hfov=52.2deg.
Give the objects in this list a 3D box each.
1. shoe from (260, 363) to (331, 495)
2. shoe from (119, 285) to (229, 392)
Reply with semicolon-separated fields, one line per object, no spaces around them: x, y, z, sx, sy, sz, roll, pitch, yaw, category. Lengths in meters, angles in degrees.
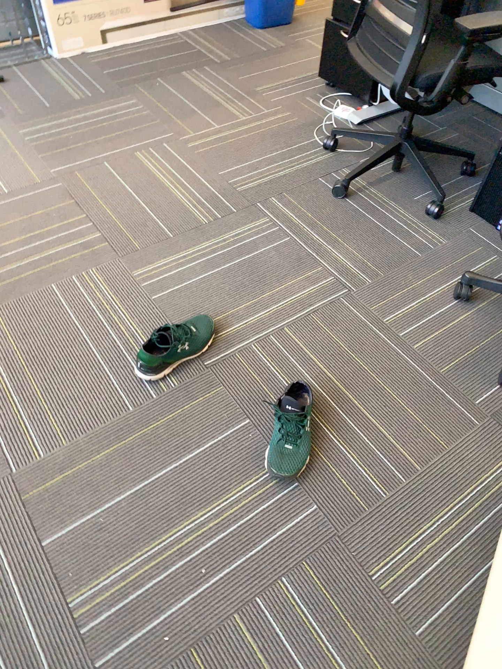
0.125;0.253;1.416;0.130;0.139;0.311;12;51;6;shoe
-0.224;0.007;1.554;0.130;0.139;0.311;38;58;25;shoe
